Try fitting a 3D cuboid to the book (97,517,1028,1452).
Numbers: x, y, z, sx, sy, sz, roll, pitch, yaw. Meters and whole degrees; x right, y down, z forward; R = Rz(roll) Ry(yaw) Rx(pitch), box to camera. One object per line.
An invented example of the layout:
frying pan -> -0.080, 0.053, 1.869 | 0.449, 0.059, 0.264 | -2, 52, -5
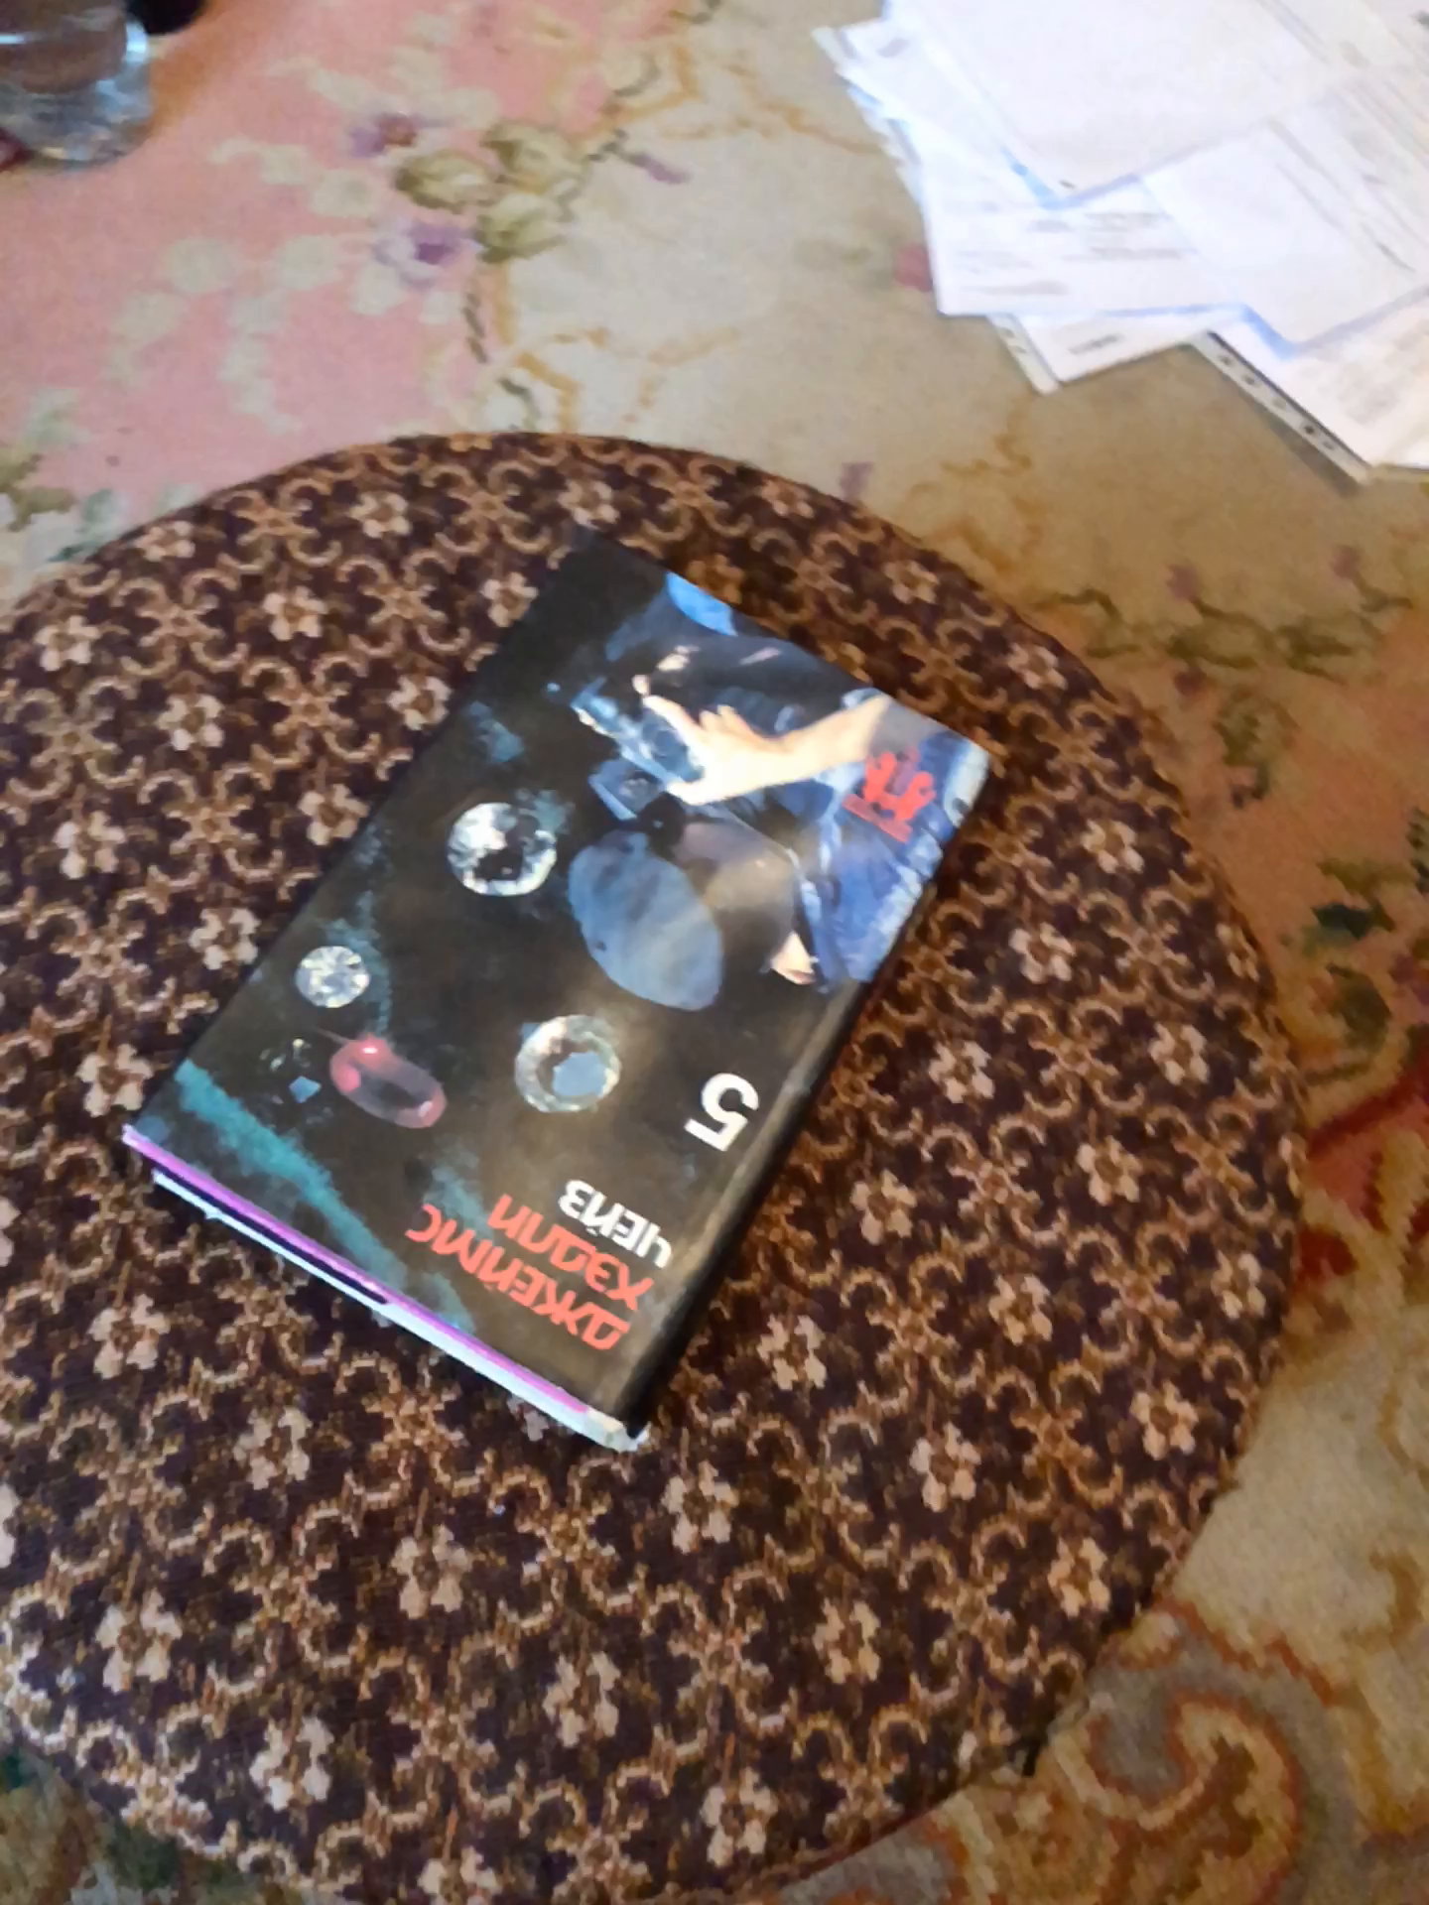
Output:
book -> -0.026, -0.006, 0.392 | 0.140, 0.020, 0.206 | 30, 62, 5
